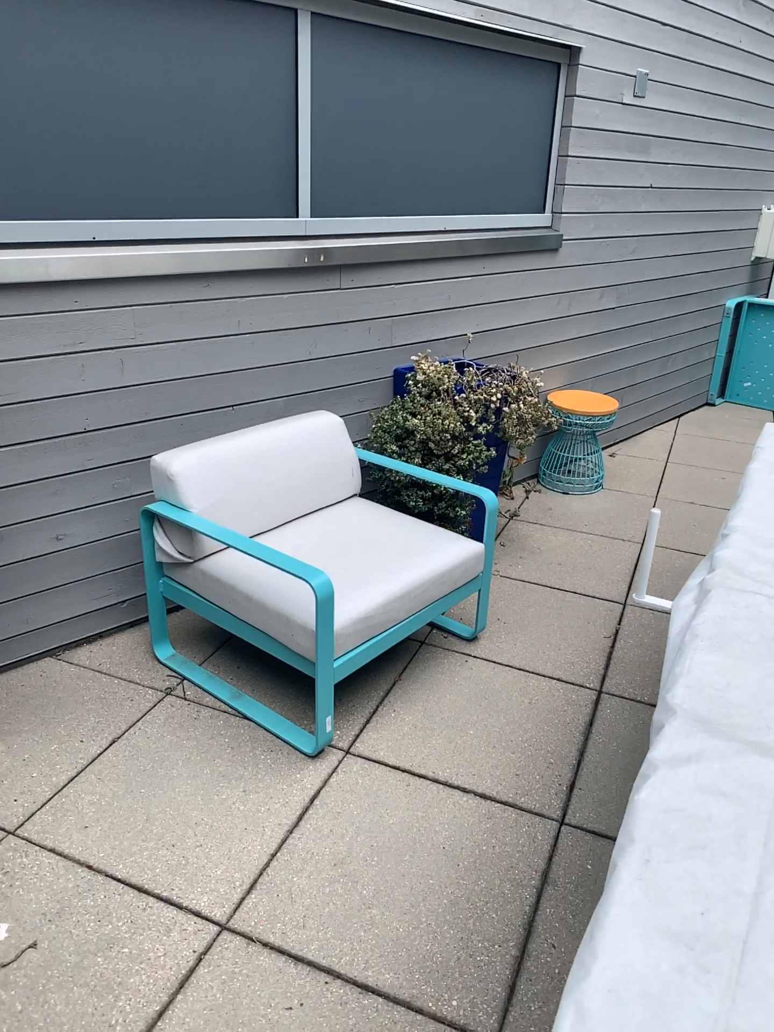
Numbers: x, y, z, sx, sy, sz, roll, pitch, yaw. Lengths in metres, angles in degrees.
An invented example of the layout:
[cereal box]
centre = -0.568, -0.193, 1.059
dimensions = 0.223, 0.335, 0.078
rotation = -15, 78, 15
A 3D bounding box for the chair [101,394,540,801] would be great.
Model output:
[chair]
centre = -0.194, 0.143, 2.530
dimensions = 0.903, 0.736, 0.972
rotation = 21, 29, 36
